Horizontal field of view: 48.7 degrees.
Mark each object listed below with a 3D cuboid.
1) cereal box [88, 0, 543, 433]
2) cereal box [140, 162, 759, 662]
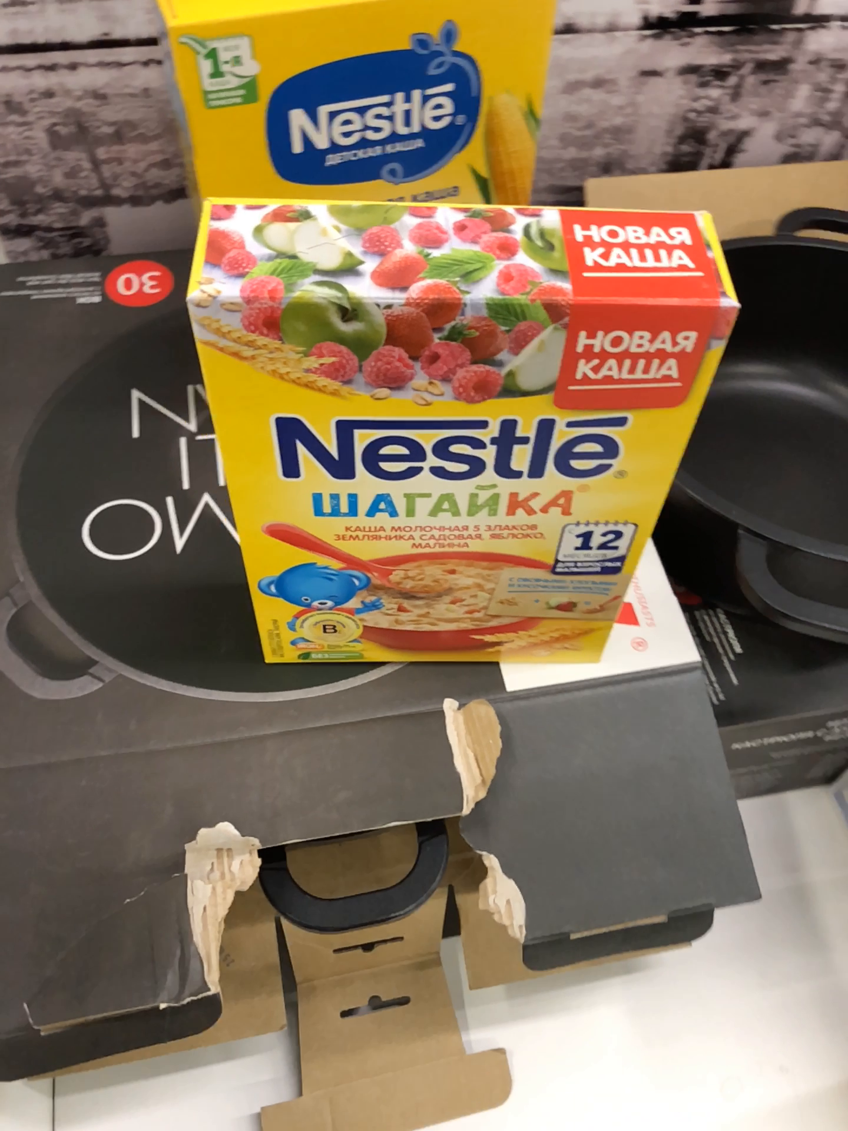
[{"bbox_3d":[-0.041,-0.166,0.428,0.160,0.199,0.050,-16,57,-12],"label":"cereal box"},{"bbox_3d":[0.005,-0.037,0.337,0.160,0.199,0.050,1,54,-1],"label":"cereal box"}]
